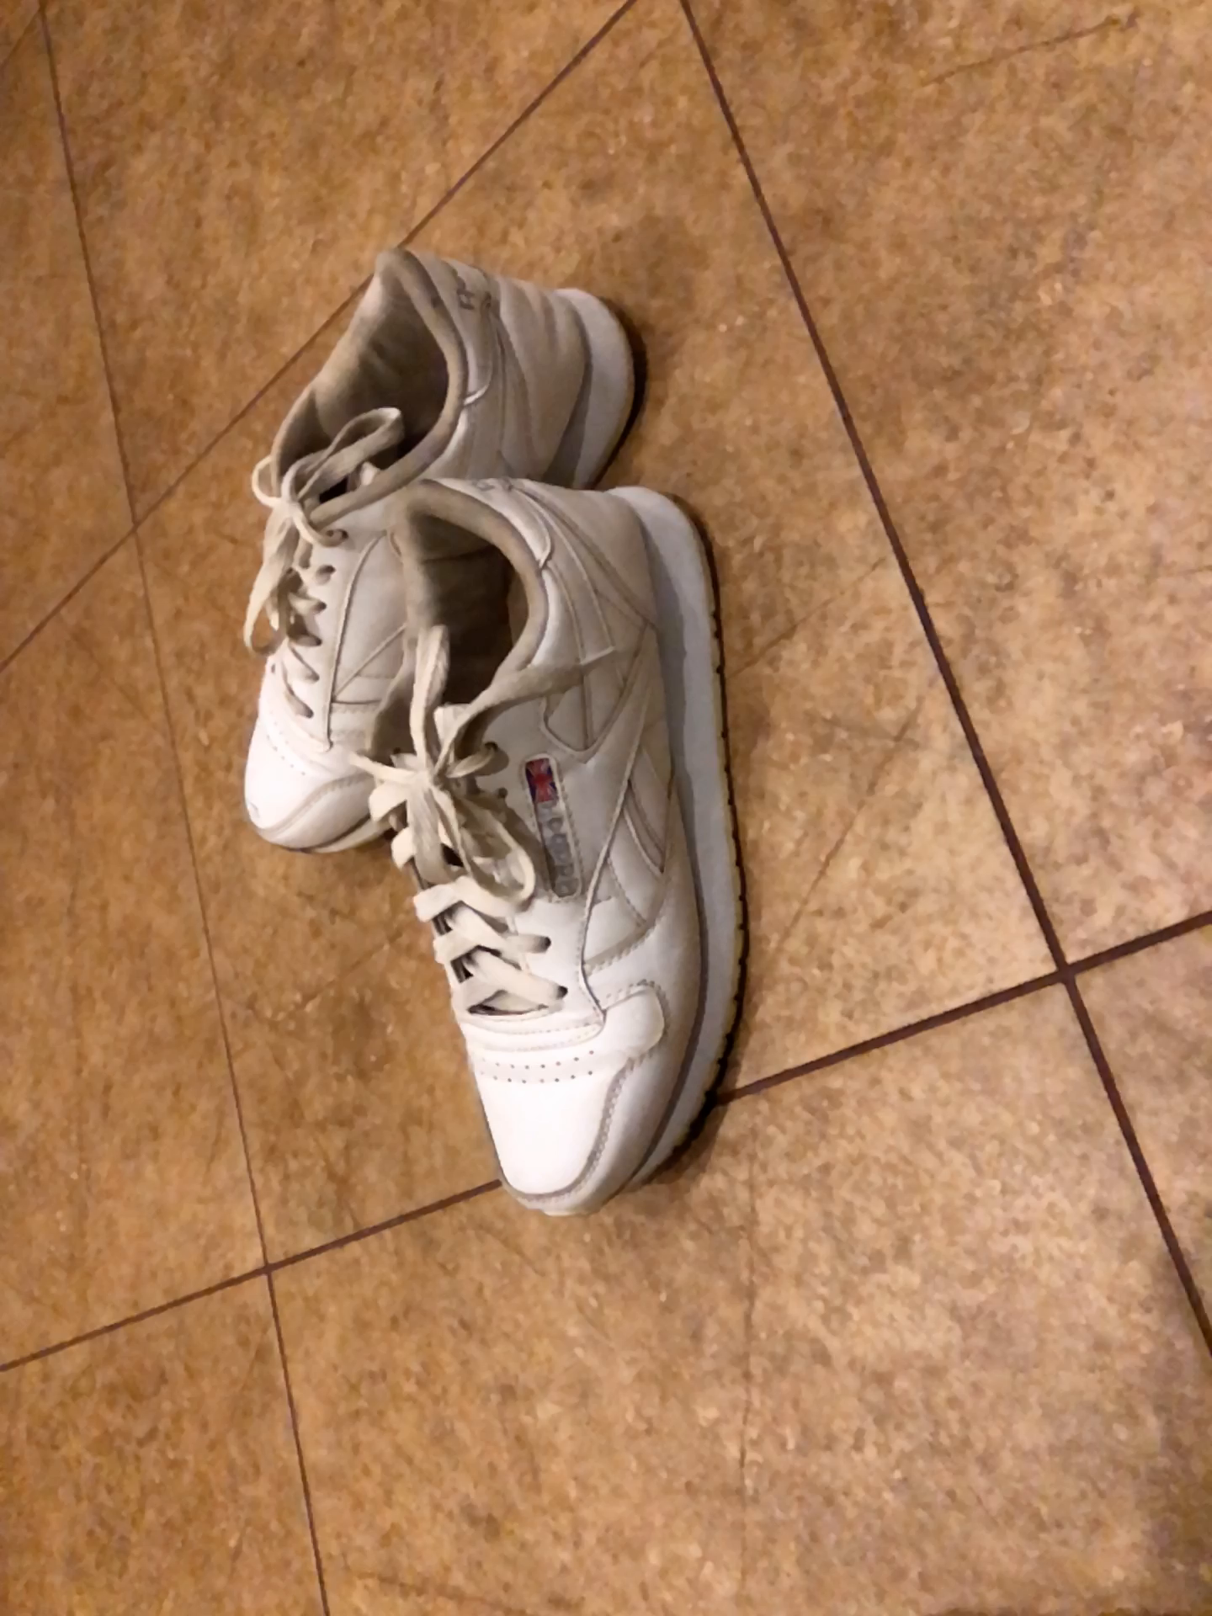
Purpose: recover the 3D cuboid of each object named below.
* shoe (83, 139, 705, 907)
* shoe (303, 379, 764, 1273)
[{"bbox_3d":[-0.091,-0.094,0.518,0.100,0.099,0.260,48,116,34],"label":"shoe"},{"bbox_3d":[-0.025,0.008,0.446,0.111,0.099,0.250,-6,81,41],"label":"shoe"}]
